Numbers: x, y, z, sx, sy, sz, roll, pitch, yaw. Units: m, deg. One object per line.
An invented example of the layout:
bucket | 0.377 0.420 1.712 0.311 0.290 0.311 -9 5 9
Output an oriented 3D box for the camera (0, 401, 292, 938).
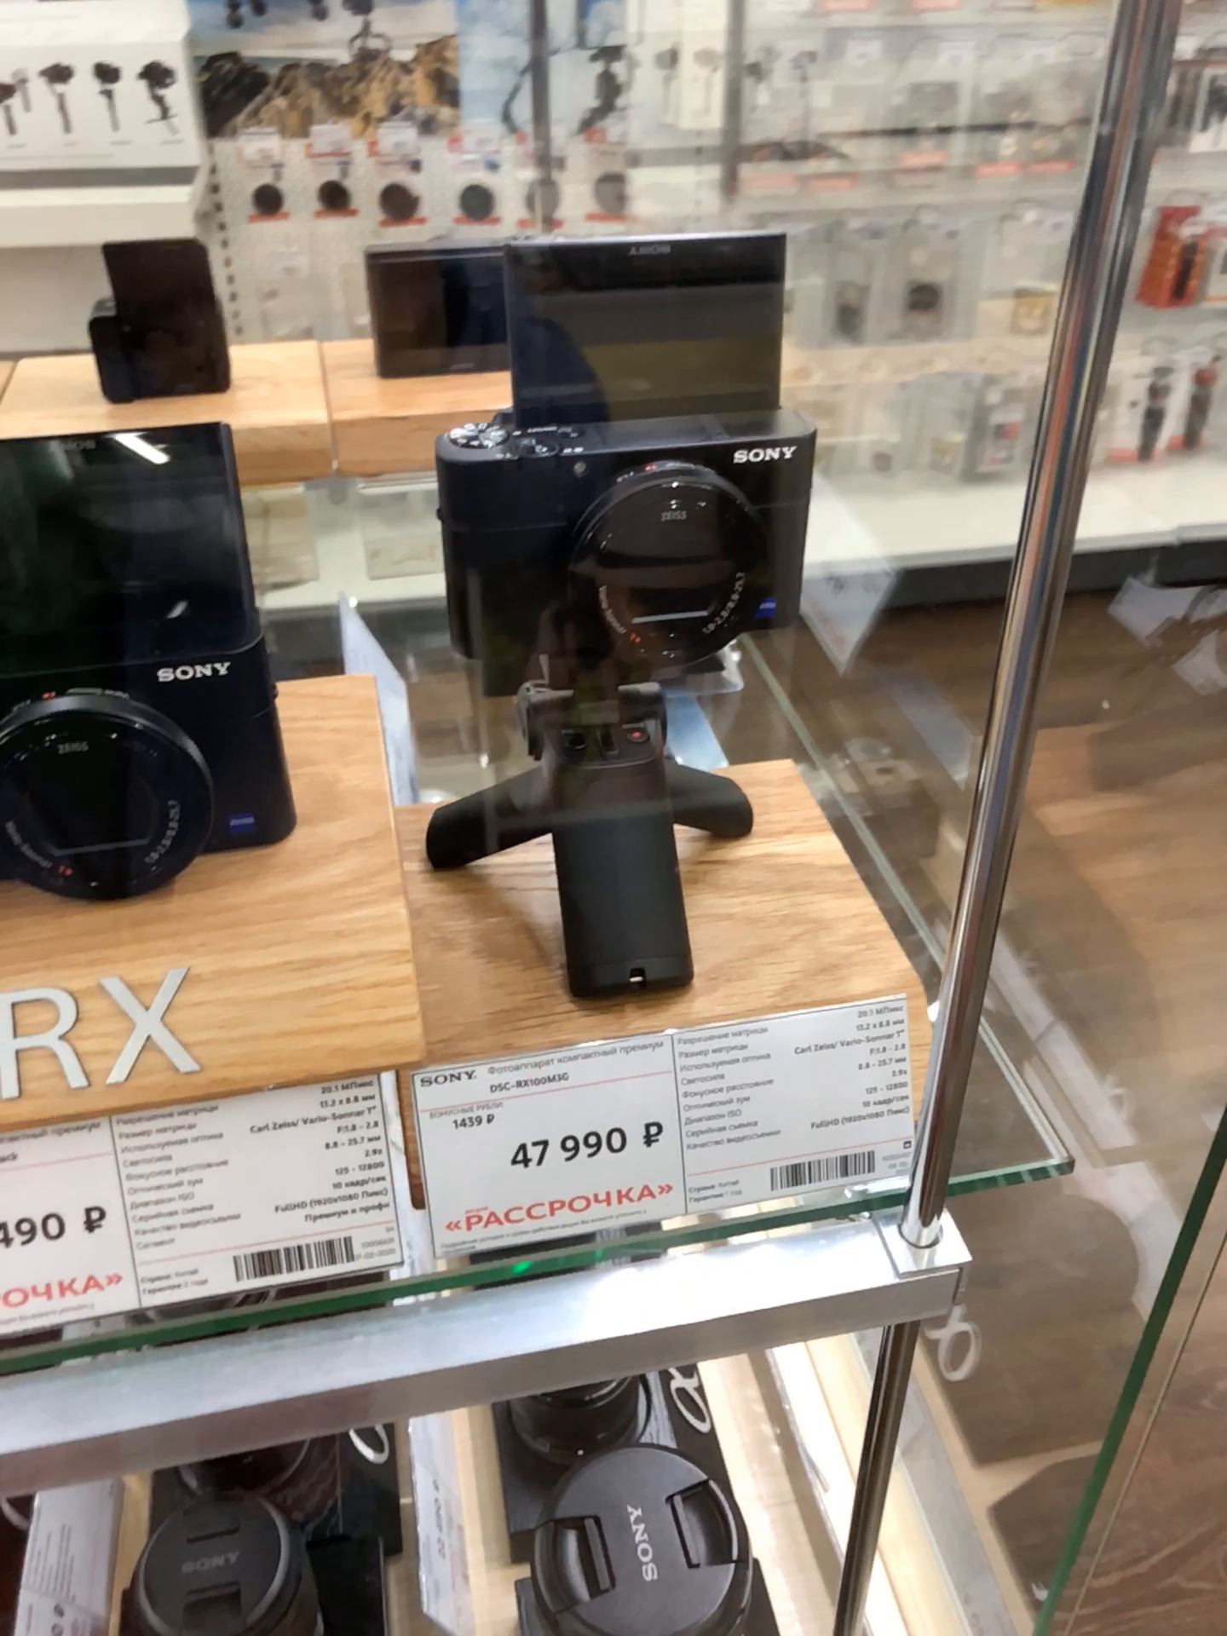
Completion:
camera | -0.138 -0.037 0.332 0.102 0.102 0.065 -7 36 -10

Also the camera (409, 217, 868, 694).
camera | 0.004 -0.097 0.360 0.102 0.102 0.057 -7 35 -10
